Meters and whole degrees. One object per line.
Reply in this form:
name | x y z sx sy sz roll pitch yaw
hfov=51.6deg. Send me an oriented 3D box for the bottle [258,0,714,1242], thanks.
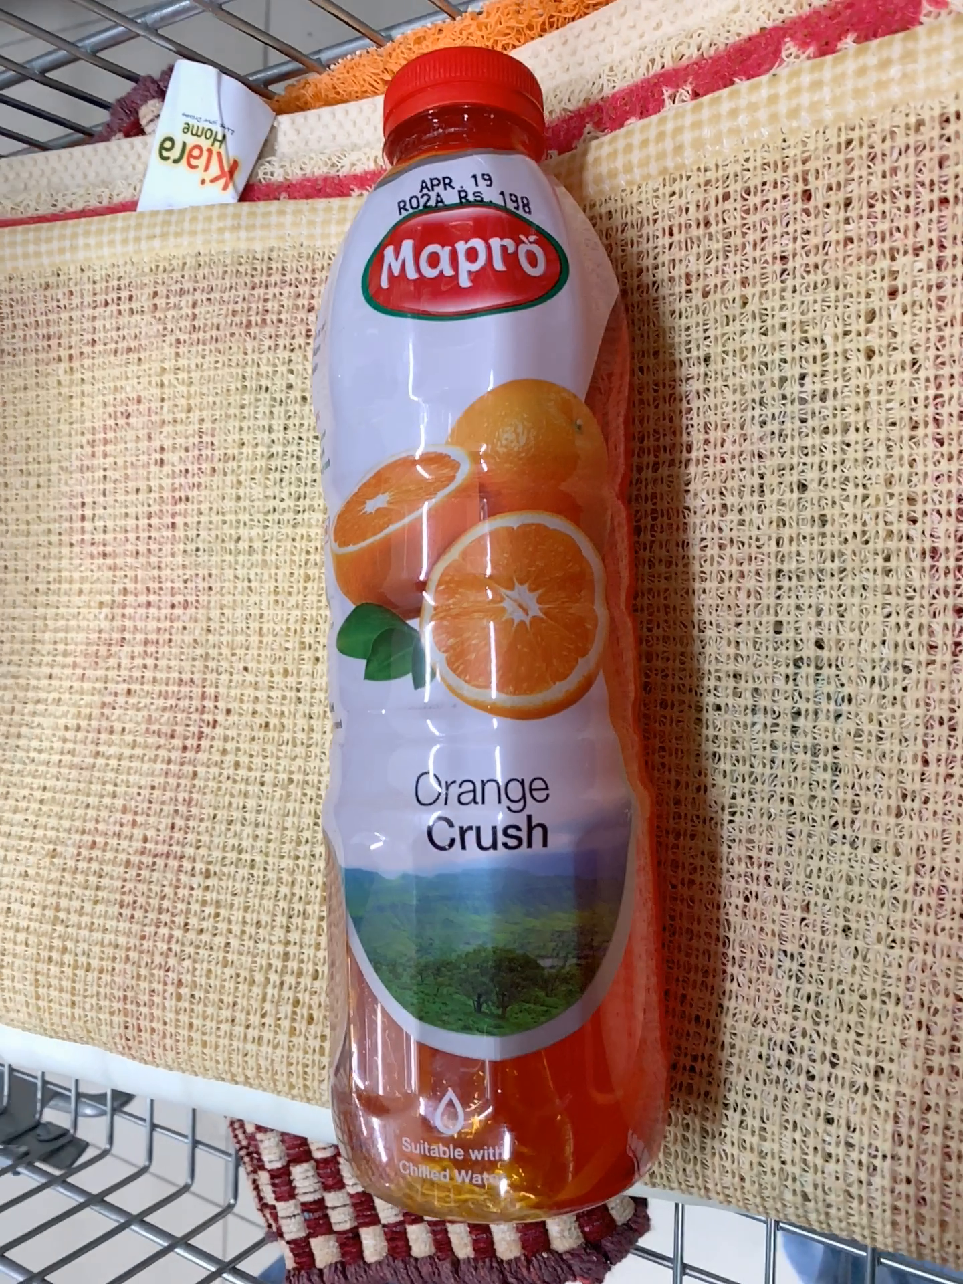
bottle | 0.002 -0.015 0.214 0.080 0.070 0.240 -1 88 5
